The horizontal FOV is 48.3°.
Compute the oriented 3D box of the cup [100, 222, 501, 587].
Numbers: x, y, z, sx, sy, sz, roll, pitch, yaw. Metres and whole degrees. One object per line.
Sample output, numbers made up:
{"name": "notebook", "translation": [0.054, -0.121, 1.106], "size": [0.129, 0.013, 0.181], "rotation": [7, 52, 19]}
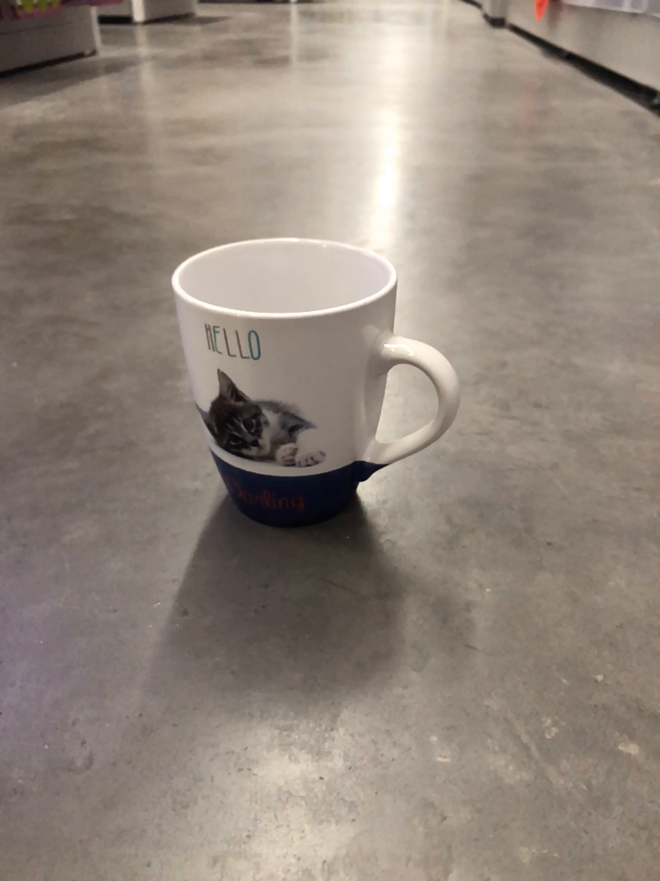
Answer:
{"name": "cup", "translation": [-0.006, -0.026, 0.325], "size": [0.127, 0.098, 0.112], "rotation": [14, 34, 21]}
